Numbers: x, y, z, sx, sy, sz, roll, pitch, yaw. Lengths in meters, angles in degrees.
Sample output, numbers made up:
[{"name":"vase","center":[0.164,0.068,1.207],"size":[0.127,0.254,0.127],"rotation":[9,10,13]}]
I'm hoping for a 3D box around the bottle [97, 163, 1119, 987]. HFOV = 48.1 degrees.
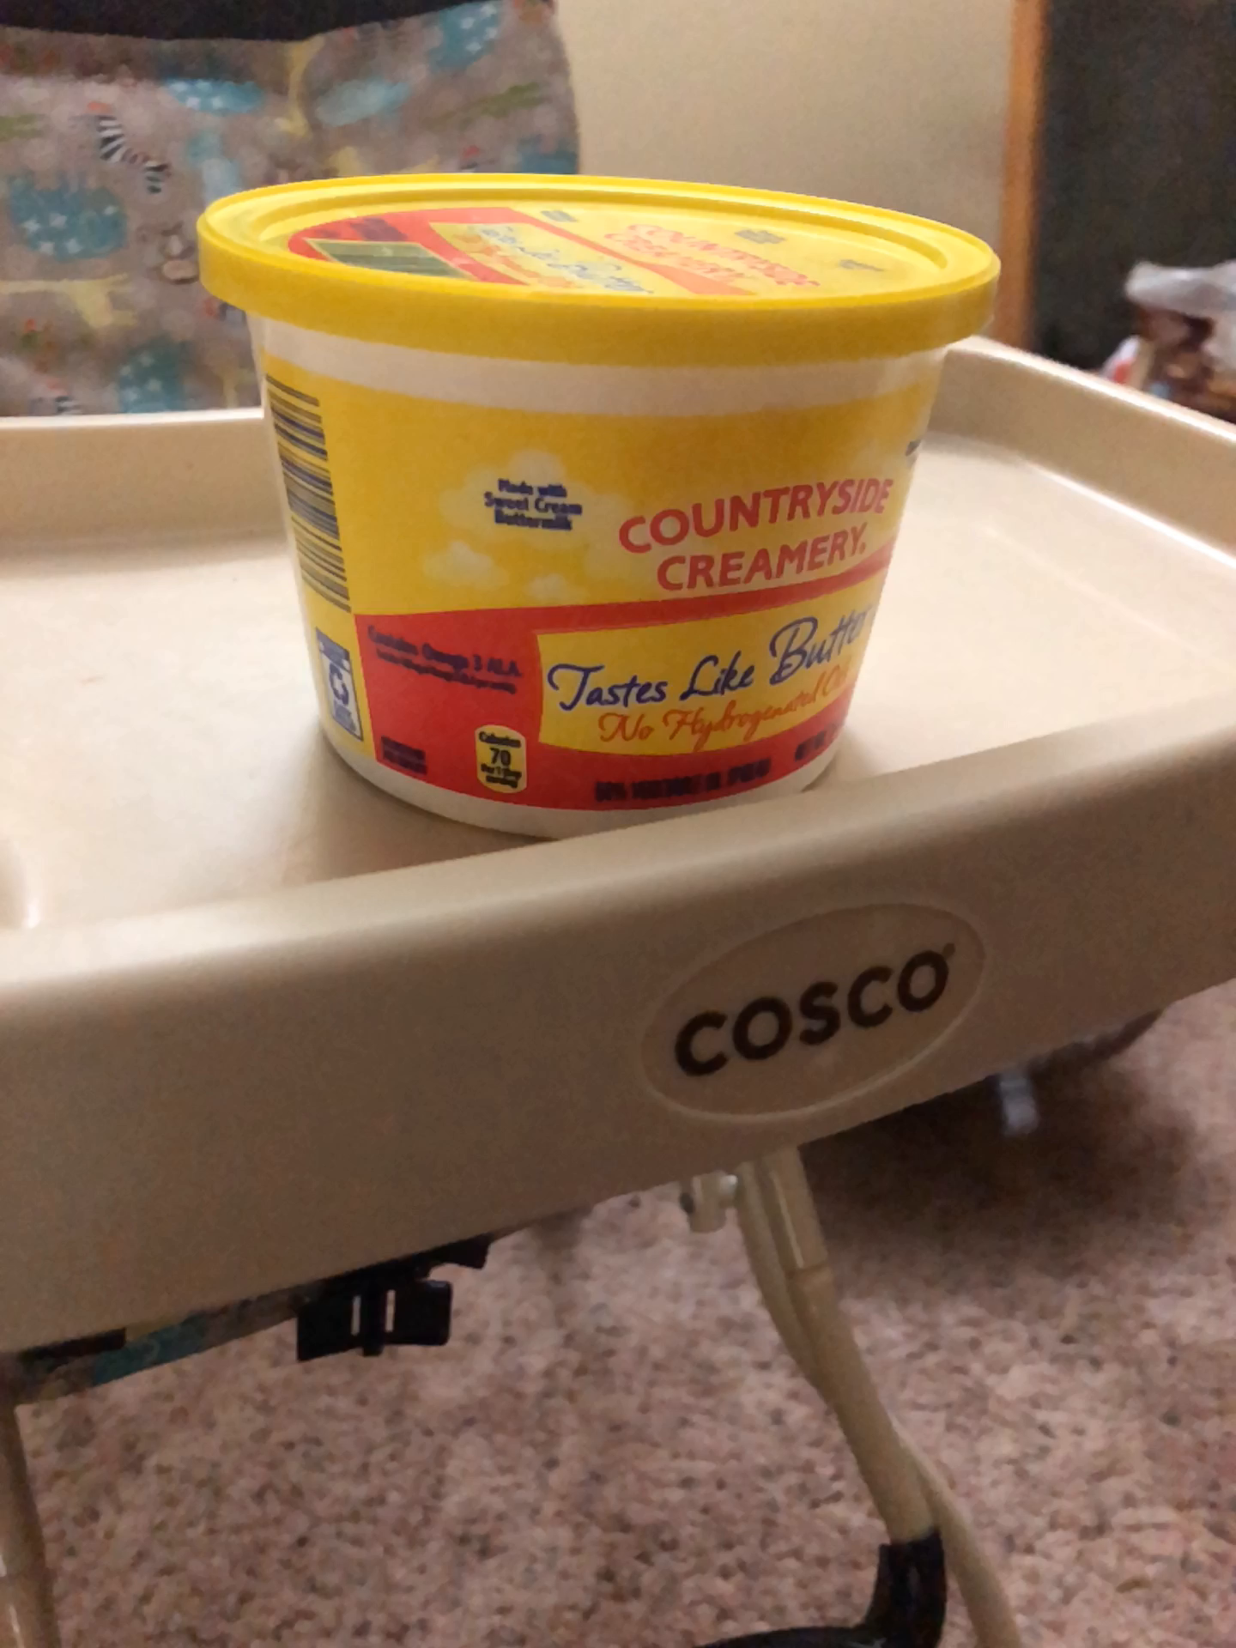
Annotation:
[{"name":"bottle","center":[-0.011,-0.053,0.231],"size":[0.120,0.090,0.110],"rotation":[3,31,-2]}]
